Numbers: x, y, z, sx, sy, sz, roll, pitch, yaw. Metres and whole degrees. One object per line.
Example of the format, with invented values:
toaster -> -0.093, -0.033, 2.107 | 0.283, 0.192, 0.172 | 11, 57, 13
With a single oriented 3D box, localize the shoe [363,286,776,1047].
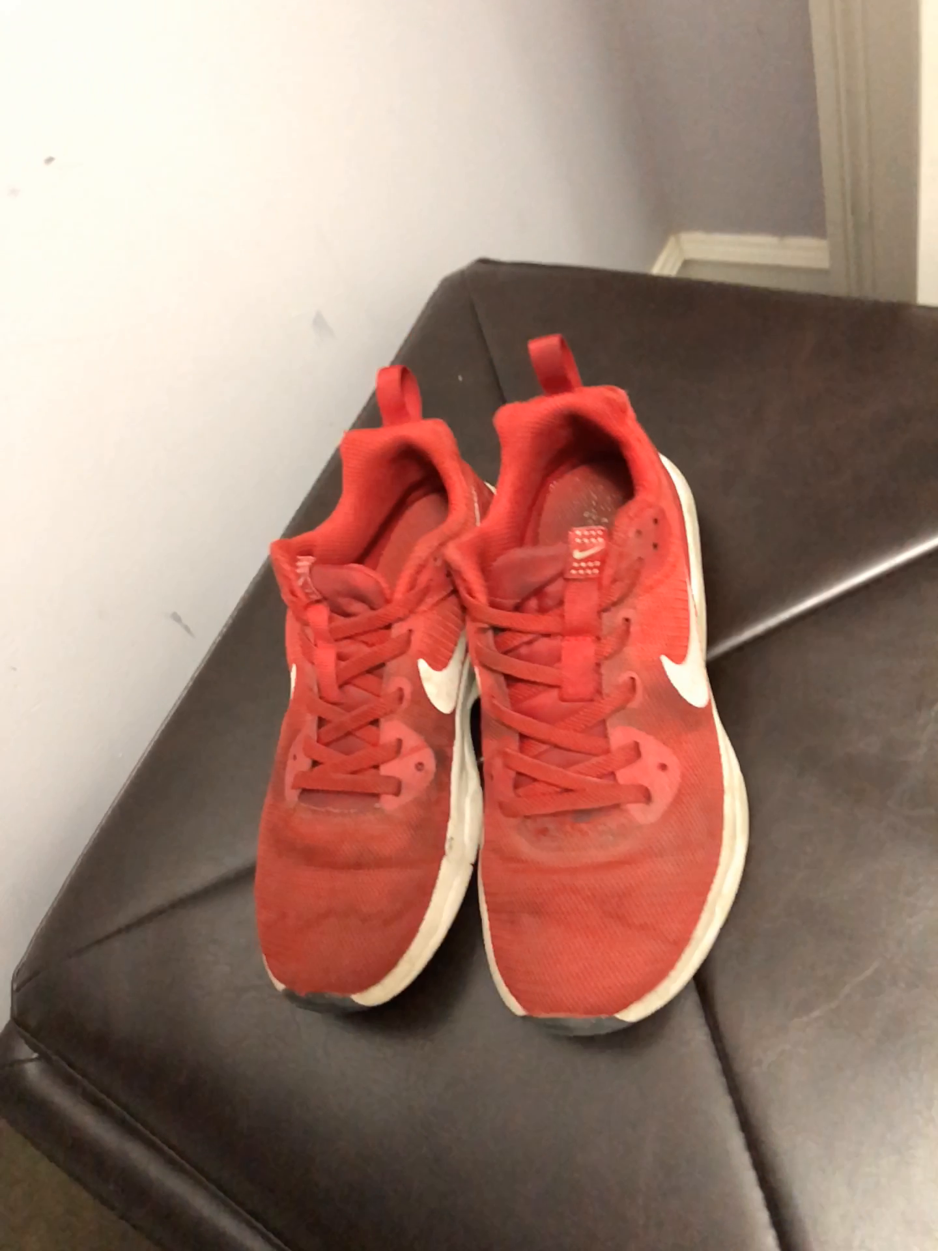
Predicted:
shoe -> 0.041, 0.015, 0.347 | 0.096, 0.100, 0.220 | -5, 63, 20

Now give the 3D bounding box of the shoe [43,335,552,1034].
shoe -> -0.047, 0.019, 0.379 | 0.096, 0.100, 0.220 | 1, 65, 24
